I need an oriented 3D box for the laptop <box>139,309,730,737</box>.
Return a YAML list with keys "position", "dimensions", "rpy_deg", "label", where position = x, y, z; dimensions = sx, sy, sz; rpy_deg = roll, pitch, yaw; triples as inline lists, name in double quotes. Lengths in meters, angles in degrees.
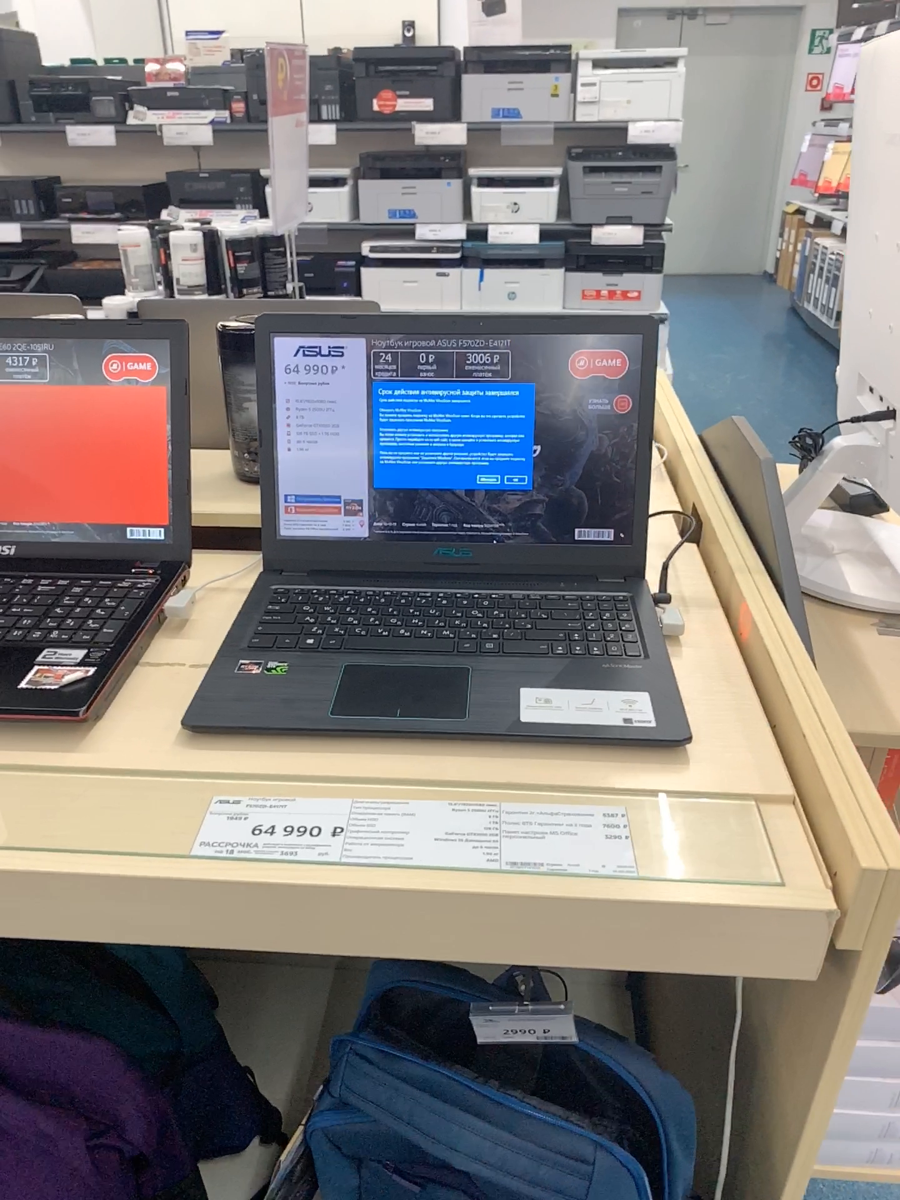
- position: [-0.005, -0.085, 0.745]
  dimensions: [0.358, 0.222, 0.319]
  rpy_deg: [1, 29, 3]
  label: "laptop"
